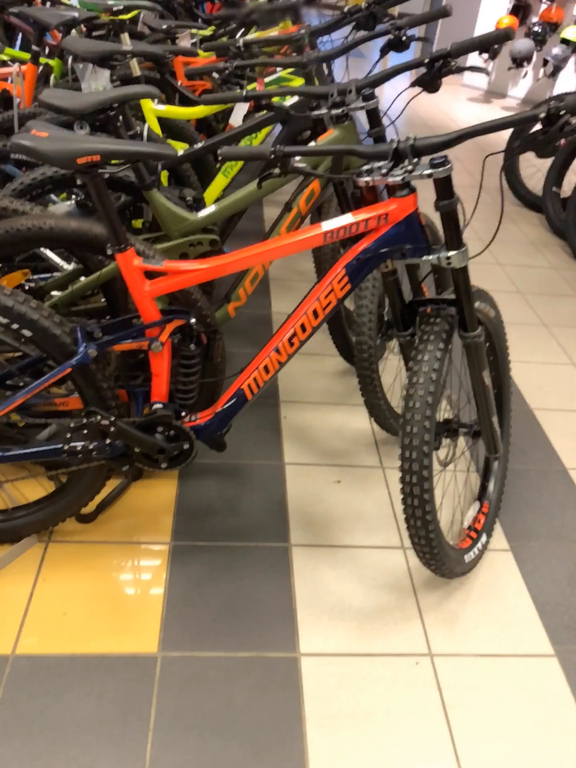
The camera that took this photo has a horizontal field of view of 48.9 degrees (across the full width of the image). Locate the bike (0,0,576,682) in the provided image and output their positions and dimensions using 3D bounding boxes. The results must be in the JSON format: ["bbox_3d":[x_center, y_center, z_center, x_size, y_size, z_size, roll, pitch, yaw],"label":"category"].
[{"bbox_3d":[-0.211,-0.254,1.435,1.699,1.108,0.804,-6,36,-15],"label":"bike"}]
